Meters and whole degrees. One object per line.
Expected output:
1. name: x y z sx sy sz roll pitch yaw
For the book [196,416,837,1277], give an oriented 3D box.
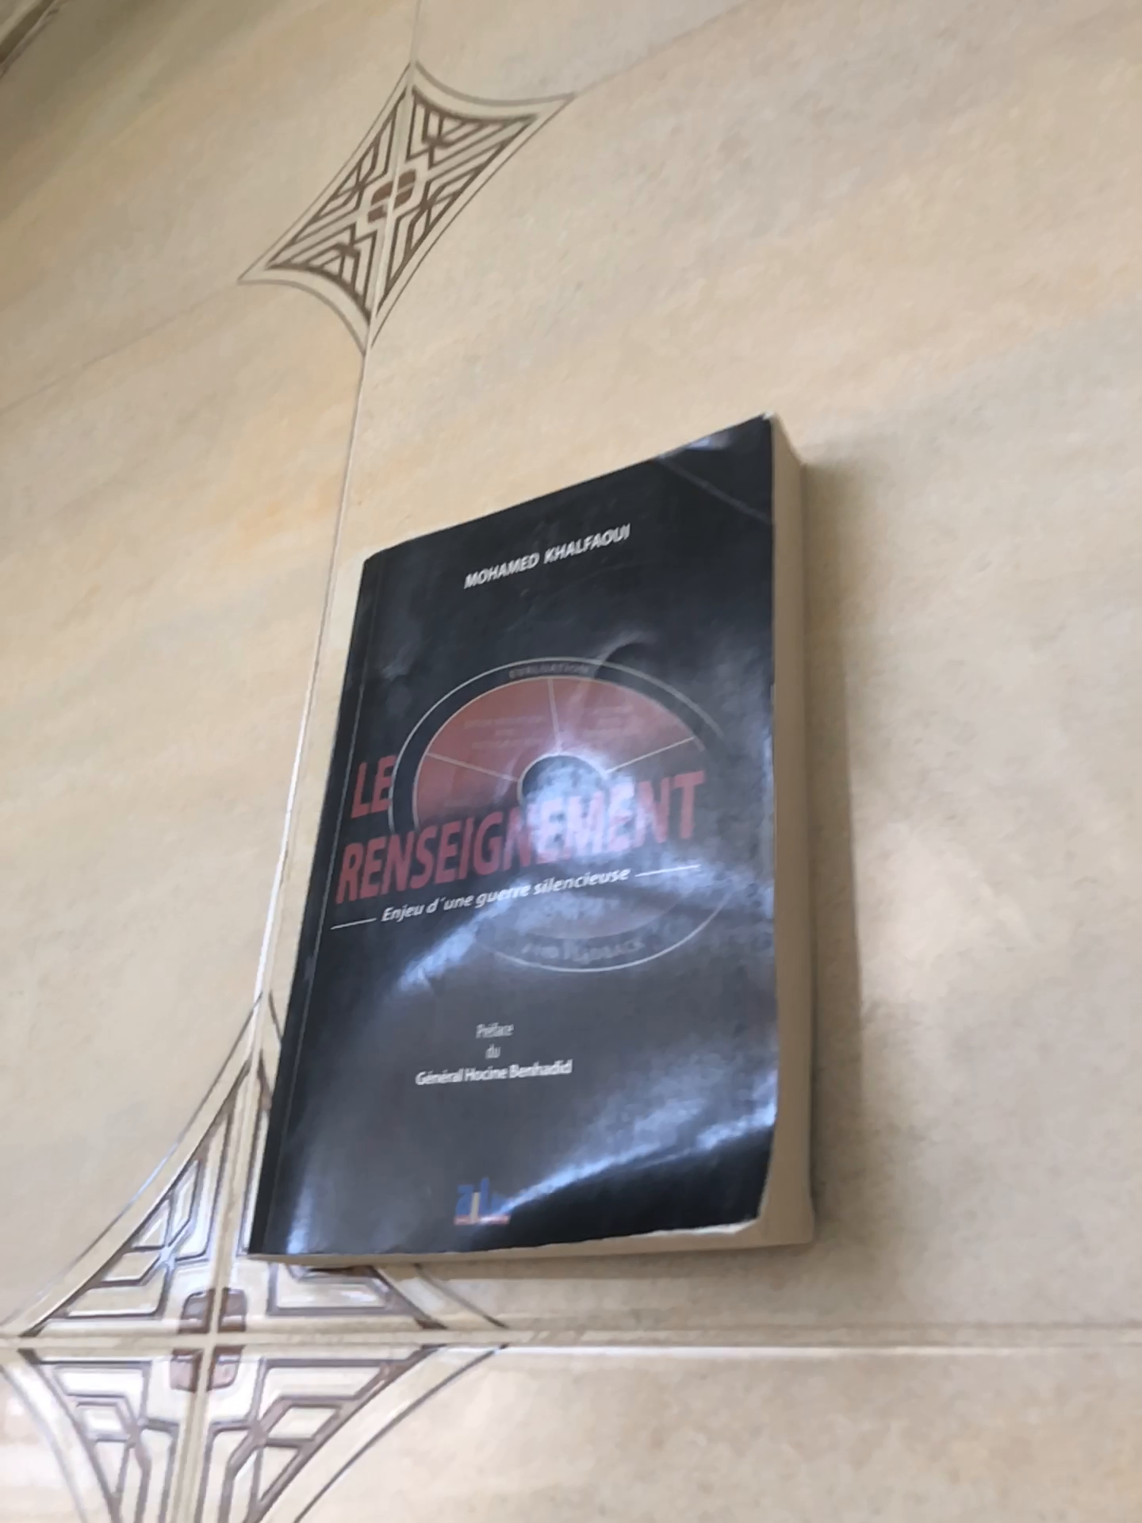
1. book: -0.015 0.023 0.327 0.146 0.037 0.201 -13 60 27
